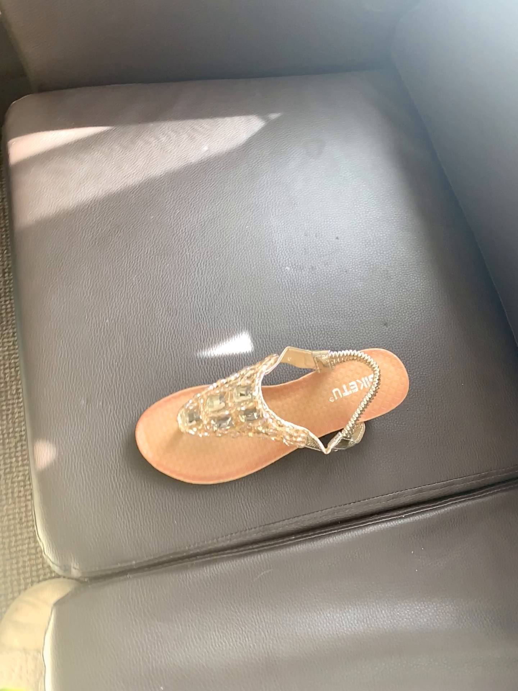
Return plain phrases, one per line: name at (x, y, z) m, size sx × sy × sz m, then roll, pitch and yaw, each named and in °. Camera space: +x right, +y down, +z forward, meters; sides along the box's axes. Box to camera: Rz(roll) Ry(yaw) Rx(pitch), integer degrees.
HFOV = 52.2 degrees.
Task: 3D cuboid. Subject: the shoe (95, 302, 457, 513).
shoe at (0.011, 0.063, 0.485) m, size 0.270 × 0.140 × 0.100 m, roll -14°, pitch 72°, yaw -8°
